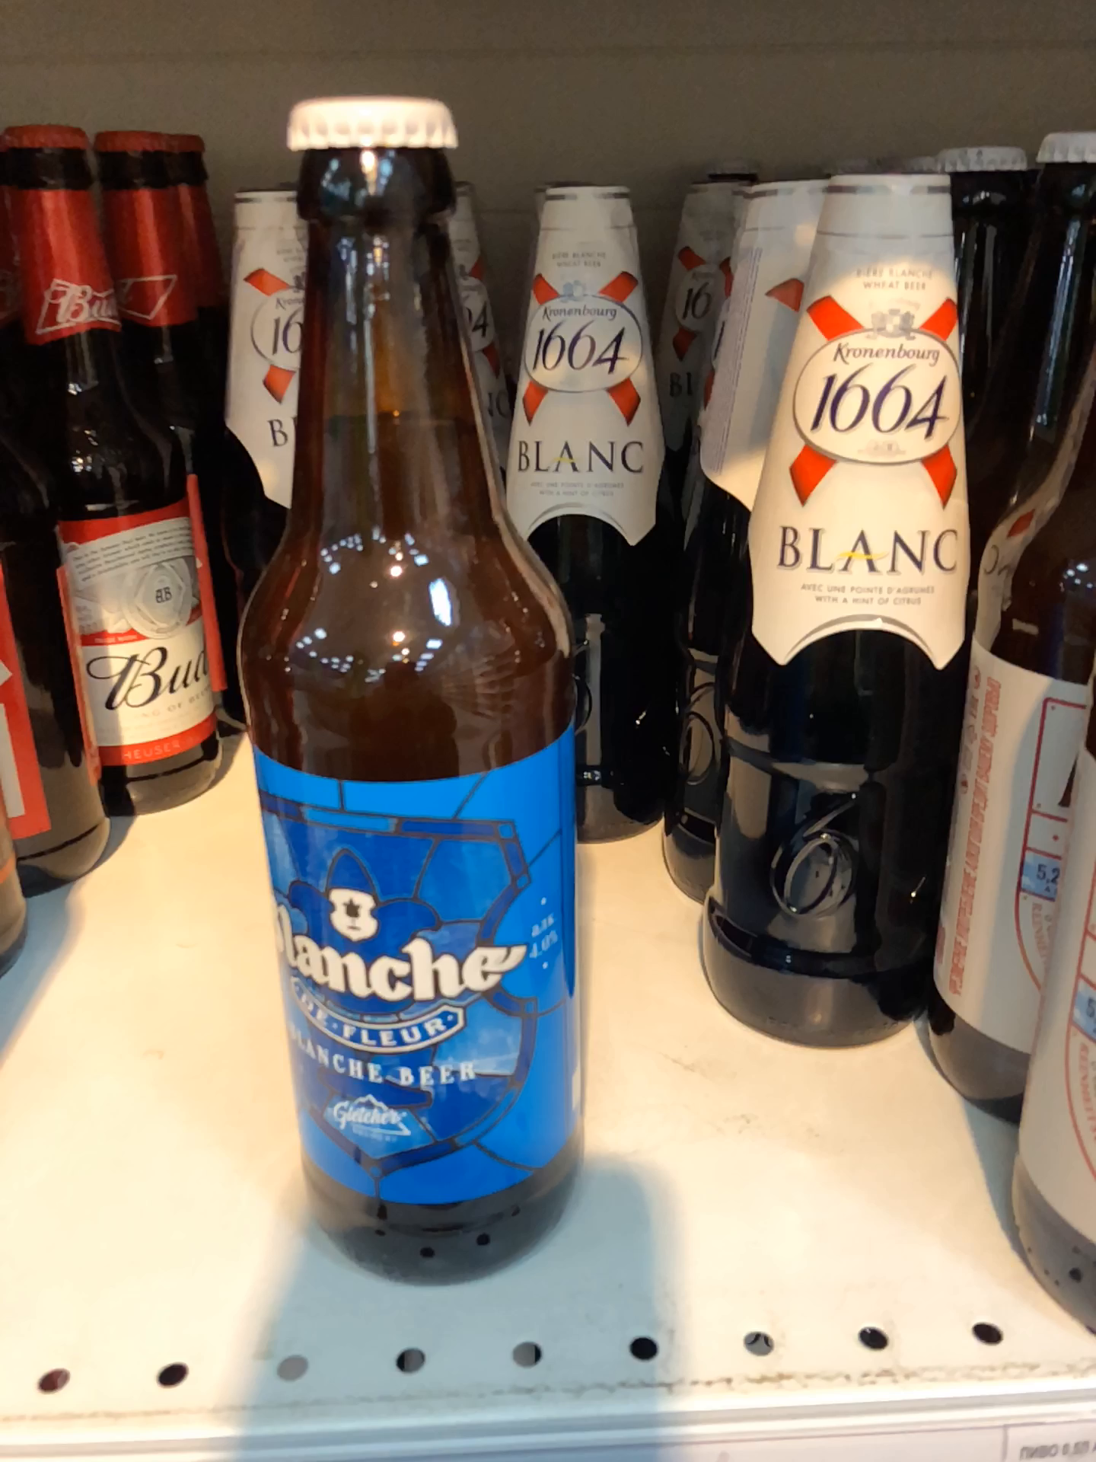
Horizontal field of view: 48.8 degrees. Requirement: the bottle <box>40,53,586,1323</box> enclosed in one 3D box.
[{"bbox_3d":[-0.034,0.001,0.256,0.070,0.244,0.070,-1,23,1],"label":"bottle"}]
